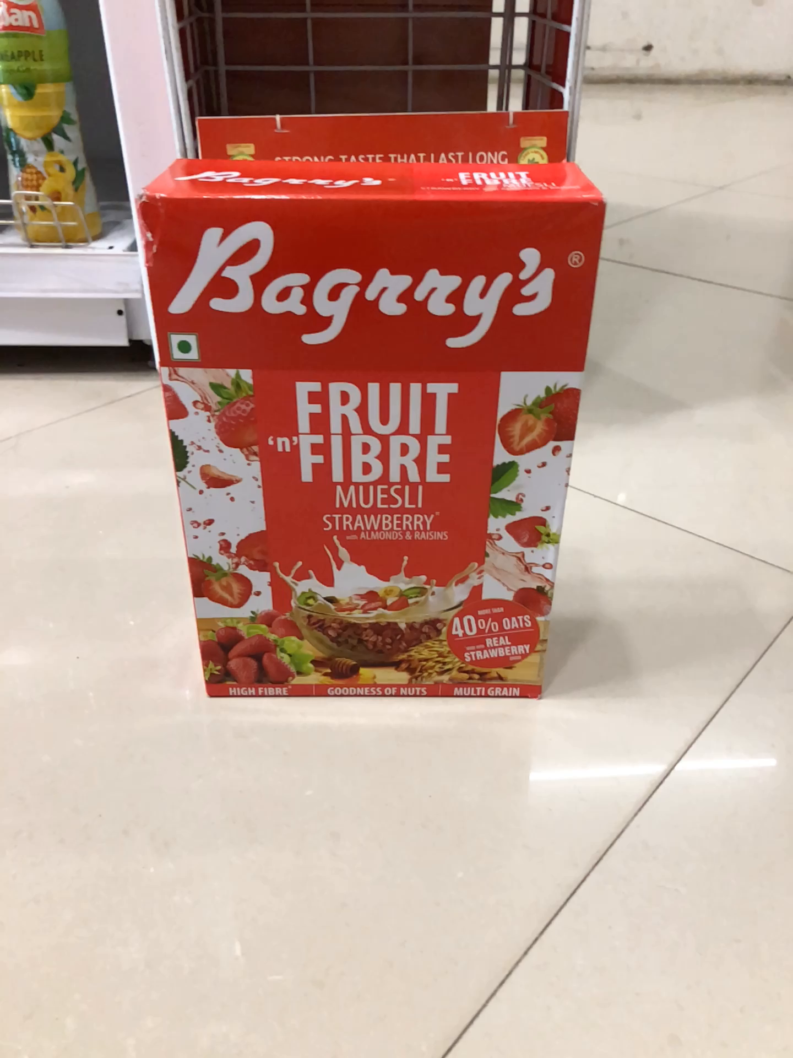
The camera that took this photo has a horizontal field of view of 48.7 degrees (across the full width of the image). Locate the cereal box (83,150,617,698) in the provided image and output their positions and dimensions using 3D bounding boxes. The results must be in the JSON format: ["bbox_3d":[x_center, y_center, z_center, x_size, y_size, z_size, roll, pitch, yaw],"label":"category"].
[{"bbox_3d":[-0.019,-0.038,0.427,0.200,0.258,0.070,0,32,-1],"label":"cereal box"}]
